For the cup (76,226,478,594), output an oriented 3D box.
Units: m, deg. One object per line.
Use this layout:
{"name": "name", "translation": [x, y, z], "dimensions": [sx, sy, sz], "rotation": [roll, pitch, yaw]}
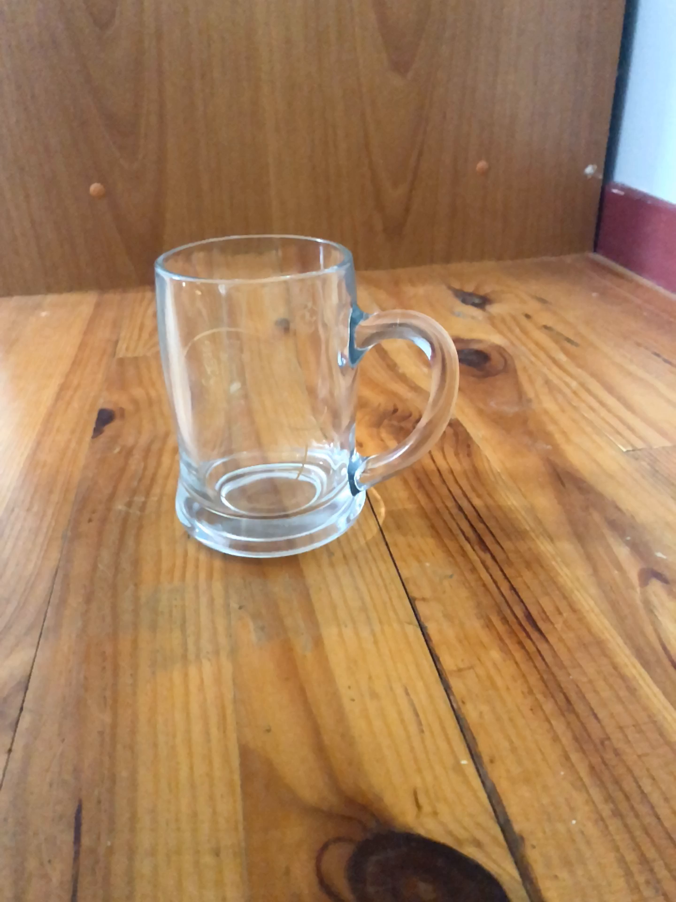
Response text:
{"name": "cup", "translation": [-0.017, -0.024, 0.311], "dimensions": [0.128, 0.110, 0.092], "rotation": [8, 30, 16]}
